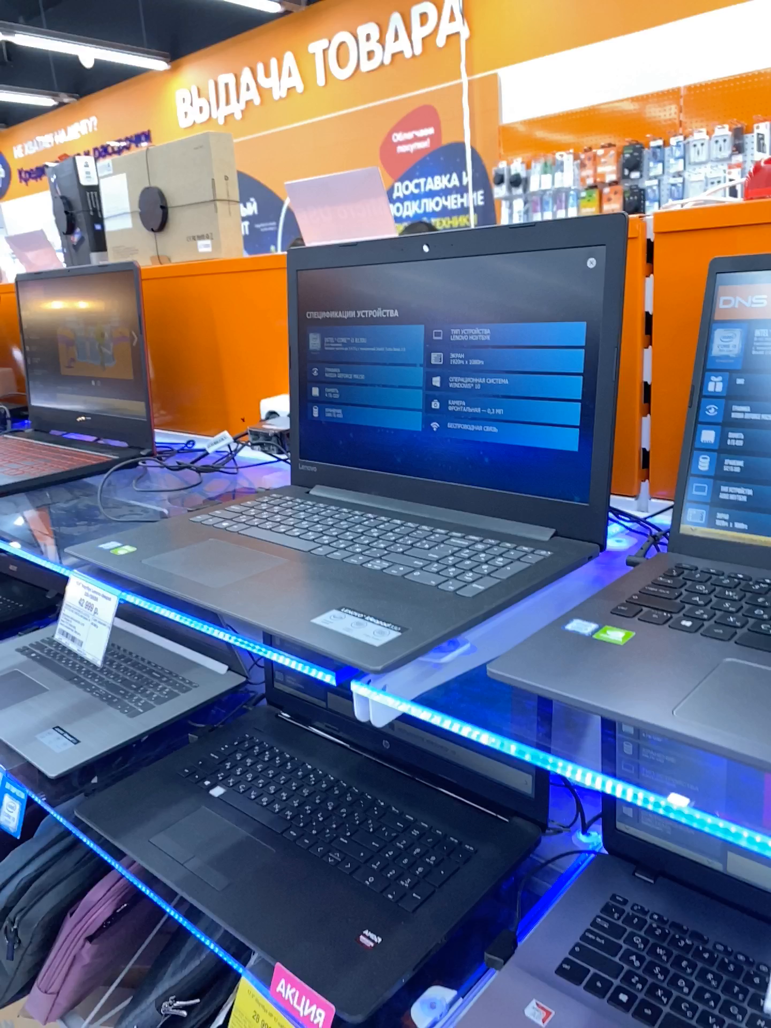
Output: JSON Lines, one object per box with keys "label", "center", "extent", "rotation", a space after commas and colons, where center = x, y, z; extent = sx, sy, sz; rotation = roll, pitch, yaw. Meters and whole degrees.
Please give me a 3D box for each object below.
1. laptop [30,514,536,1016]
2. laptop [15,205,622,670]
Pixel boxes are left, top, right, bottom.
{"label": "laptop", "center": [-0.097, 0.182, 0.768], "extent": [0.401, 0.263, 0.271], "rotation": [10, 18, 39]}
{"label": "laptop", "center": [-0.053, -0.093, 0.638], "extent": [0.378, 0.245, 0.289], "rotation": [11, 21, 41]}
